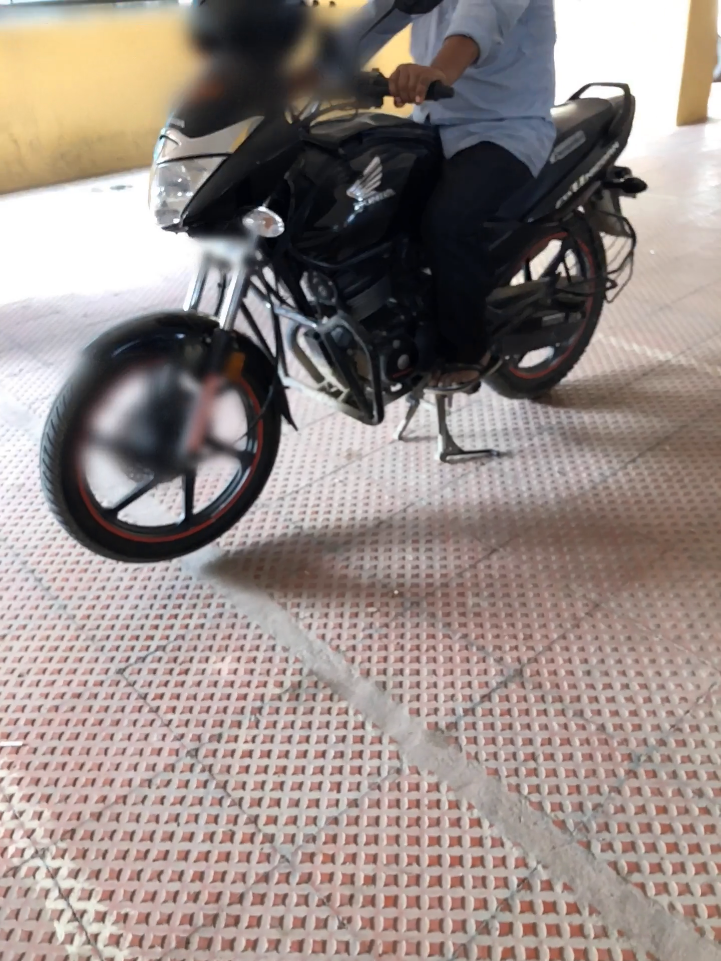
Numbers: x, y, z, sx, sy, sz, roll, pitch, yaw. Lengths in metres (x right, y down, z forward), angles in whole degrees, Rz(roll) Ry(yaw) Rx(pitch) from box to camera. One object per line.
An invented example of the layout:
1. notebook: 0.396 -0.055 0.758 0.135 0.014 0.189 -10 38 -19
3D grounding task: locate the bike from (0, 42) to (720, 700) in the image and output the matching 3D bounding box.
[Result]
1. bike: 0.044 -0.488 2.136 1.891 1.009 0.787 -26 38 -30
